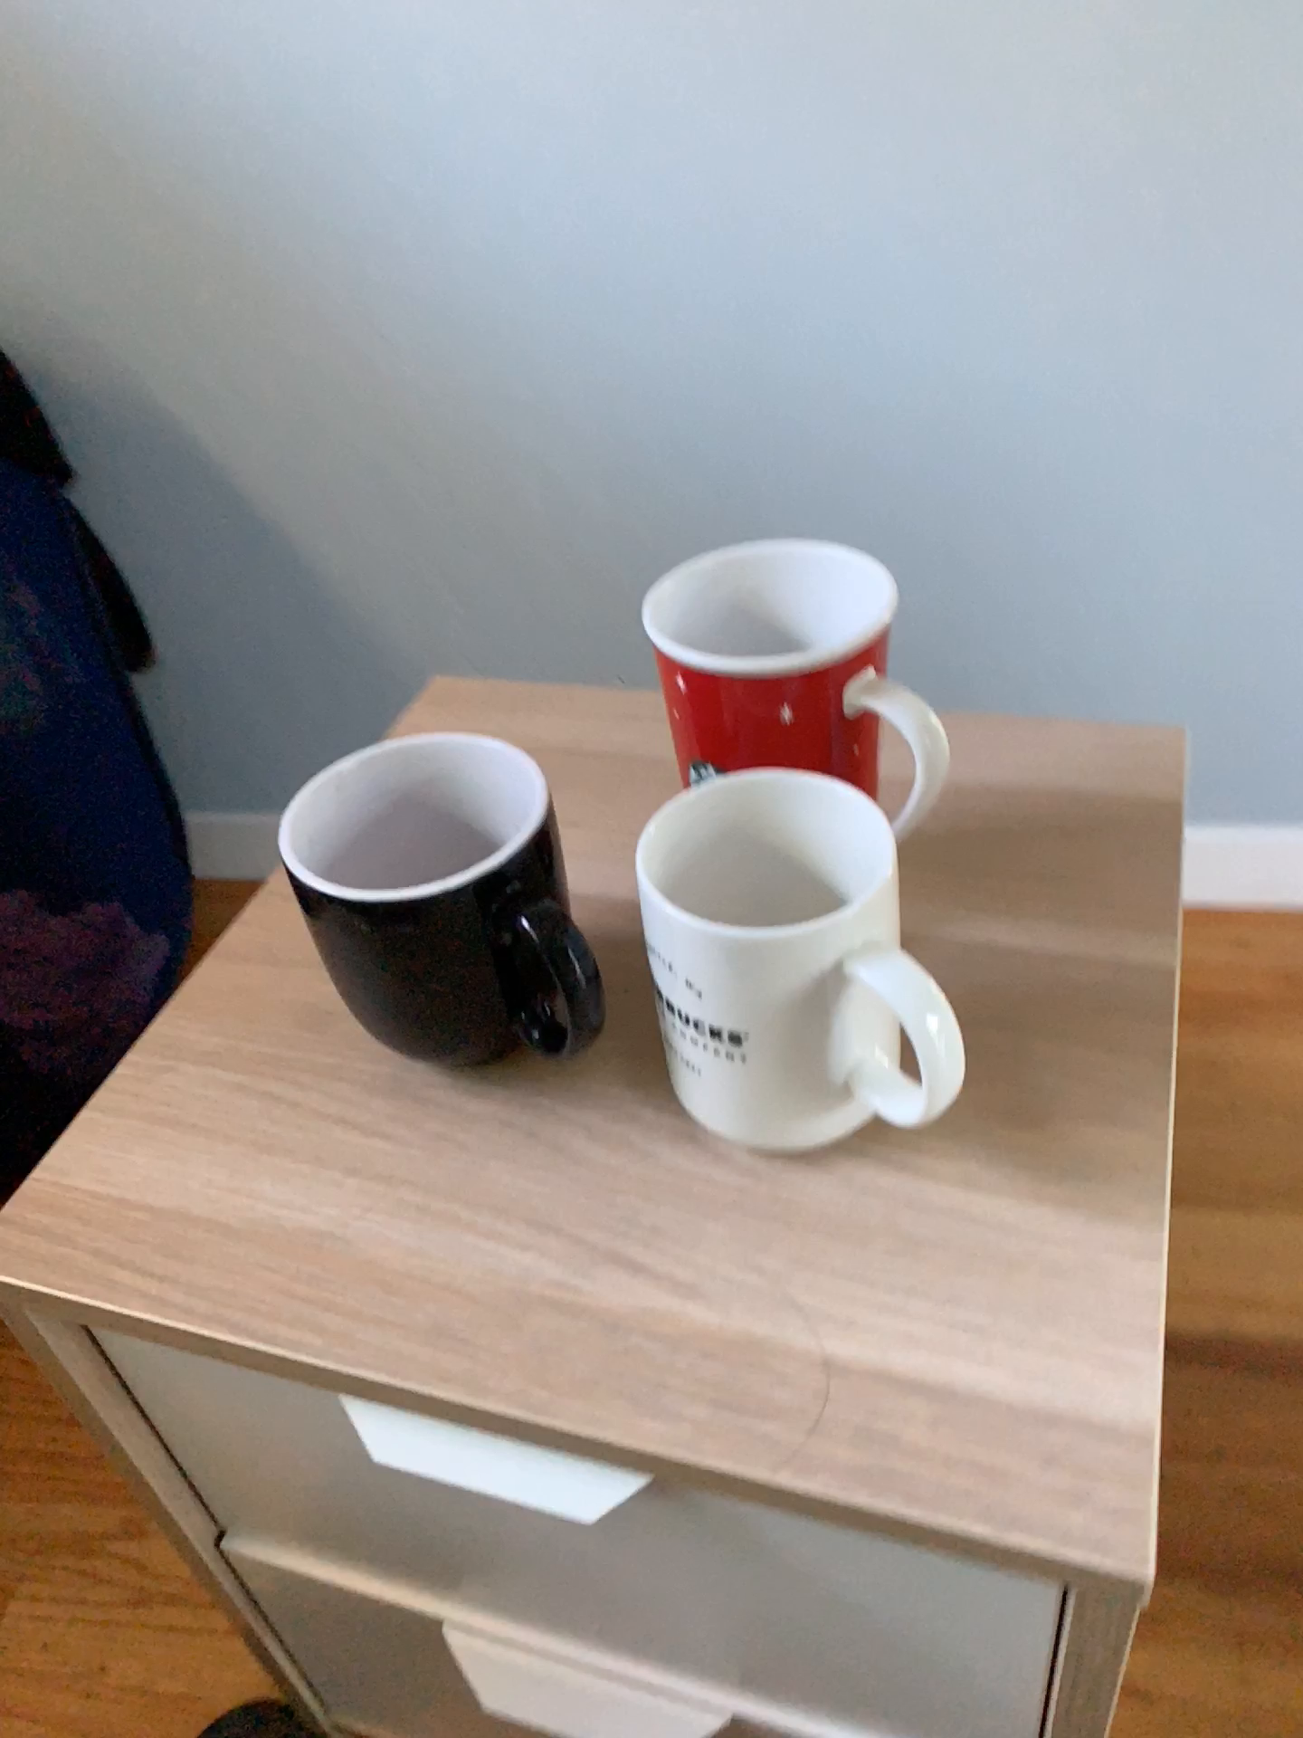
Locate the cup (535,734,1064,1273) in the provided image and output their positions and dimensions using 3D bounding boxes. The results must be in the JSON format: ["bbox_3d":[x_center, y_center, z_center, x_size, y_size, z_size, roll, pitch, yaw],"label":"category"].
[{"bbox_3d":[0.051,0.039,0.467,0.141,0.100,0.100,28,50,37],"label":"cup"}]

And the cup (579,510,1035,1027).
[{"bbox_3d":[0.062,-0.046,0.546,0.100,0.139,0.141,-32,44,-27],"label":"cup"}]

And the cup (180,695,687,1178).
[{"bbox_3d":[-0.077,0.017,0.487,0.141,0.090,0.100,26,49,35],"label":"cup"}]
